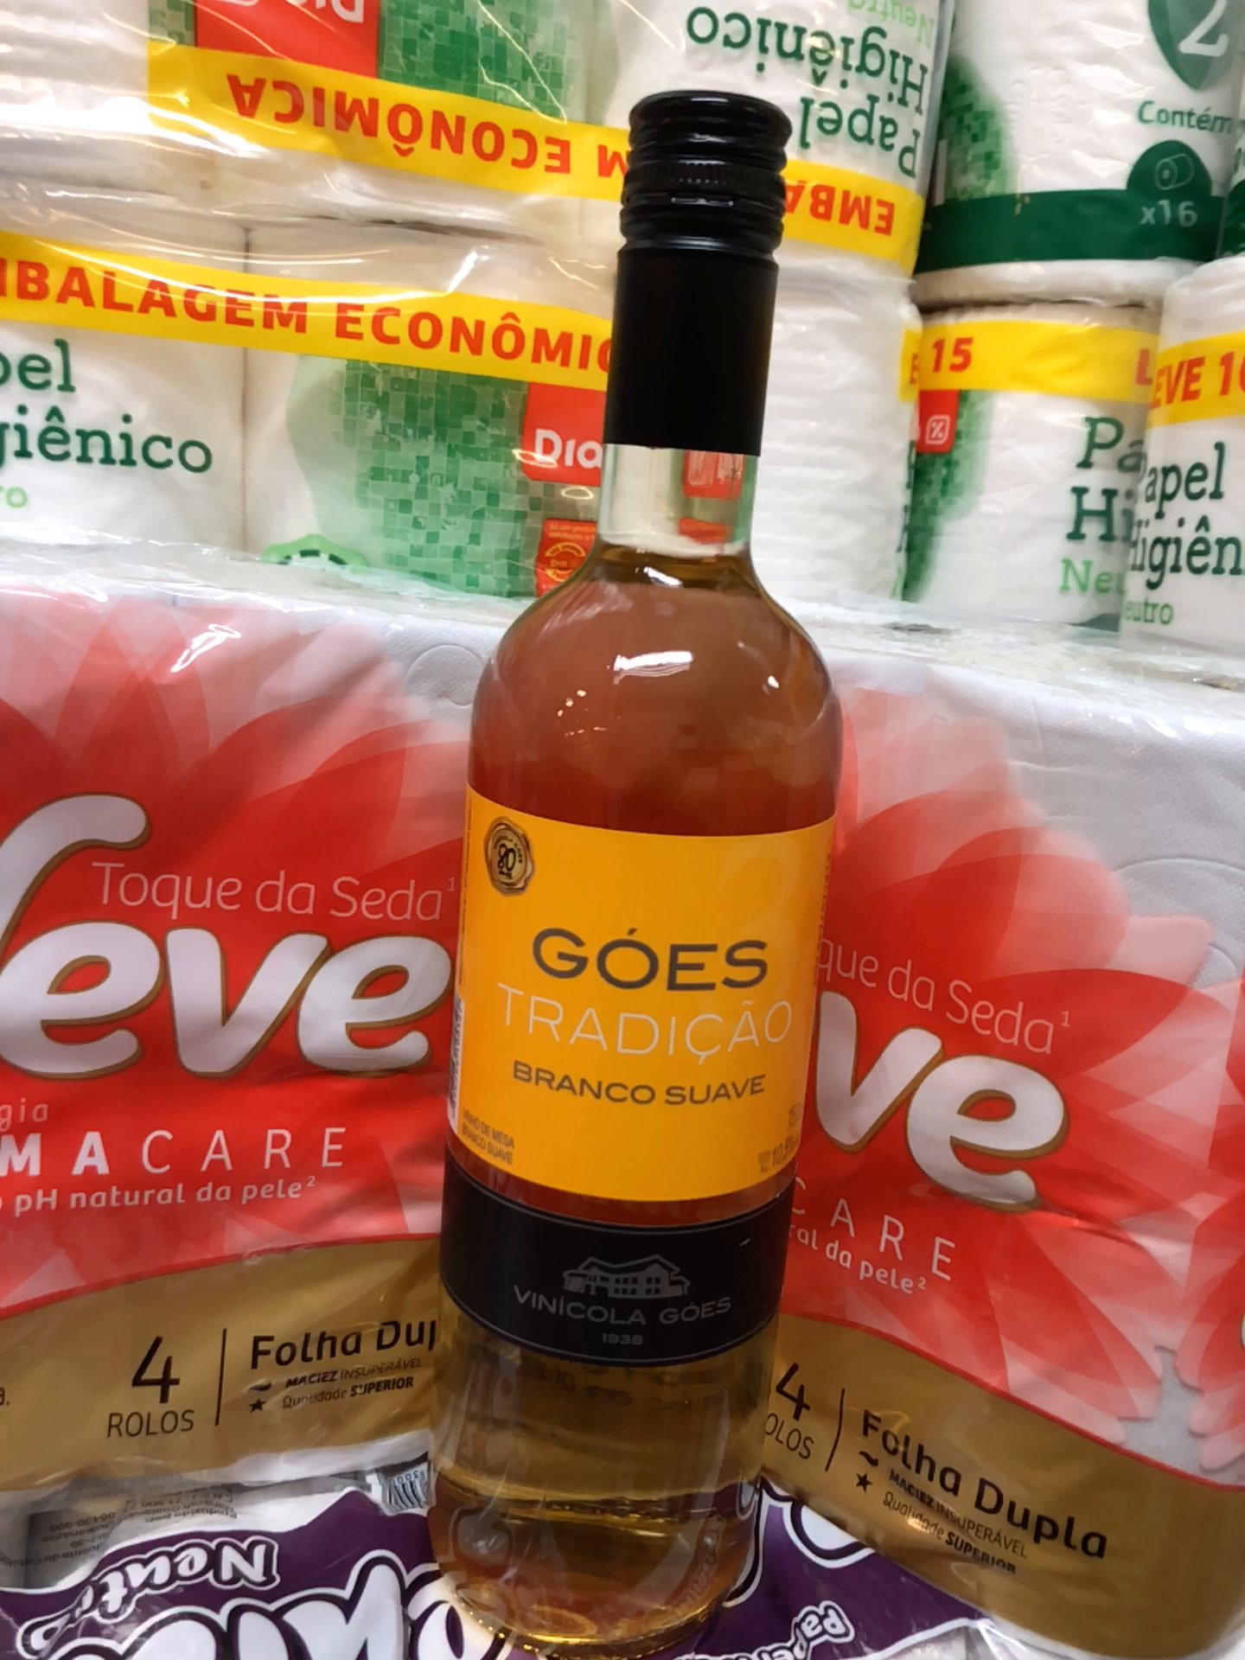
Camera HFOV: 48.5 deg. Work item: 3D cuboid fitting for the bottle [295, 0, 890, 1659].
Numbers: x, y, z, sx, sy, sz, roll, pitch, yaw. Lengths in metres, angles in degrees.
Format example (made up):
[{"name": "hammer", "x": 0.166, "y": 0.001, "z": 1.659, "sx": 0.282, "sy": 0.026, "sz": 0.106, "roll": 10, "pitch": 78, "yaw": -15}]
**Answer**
[{"name": "bottle", "x": -0.008, "y": 0.017, "z": 0.288, "sx": 0.090, "sy": 0.318, "sz": 0.090, "roll": 3, "pitch": 14, "yaw": -1}]
